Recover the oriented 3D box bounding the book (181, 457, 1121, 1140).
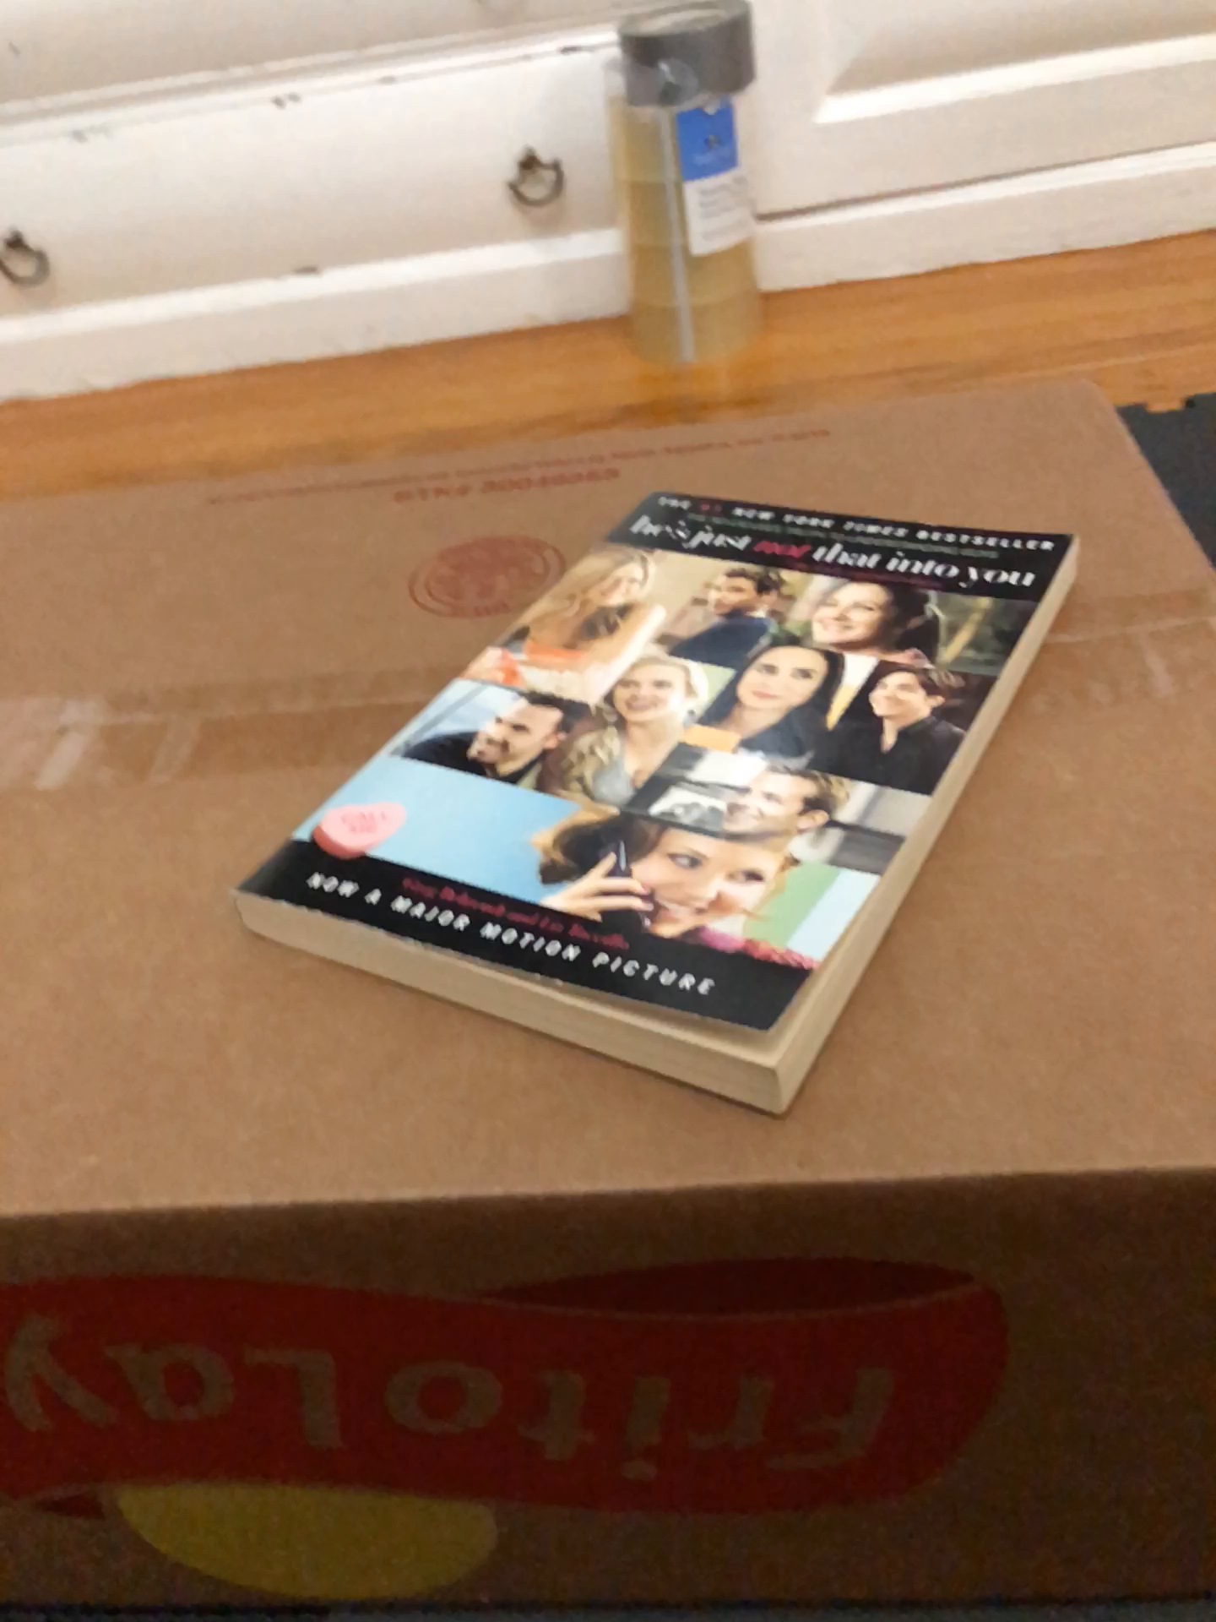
[{"bbox_3d":[0.023,-0.028,0.343,0.160,0.020,0.211,13,44,26],"label":"book"}]
